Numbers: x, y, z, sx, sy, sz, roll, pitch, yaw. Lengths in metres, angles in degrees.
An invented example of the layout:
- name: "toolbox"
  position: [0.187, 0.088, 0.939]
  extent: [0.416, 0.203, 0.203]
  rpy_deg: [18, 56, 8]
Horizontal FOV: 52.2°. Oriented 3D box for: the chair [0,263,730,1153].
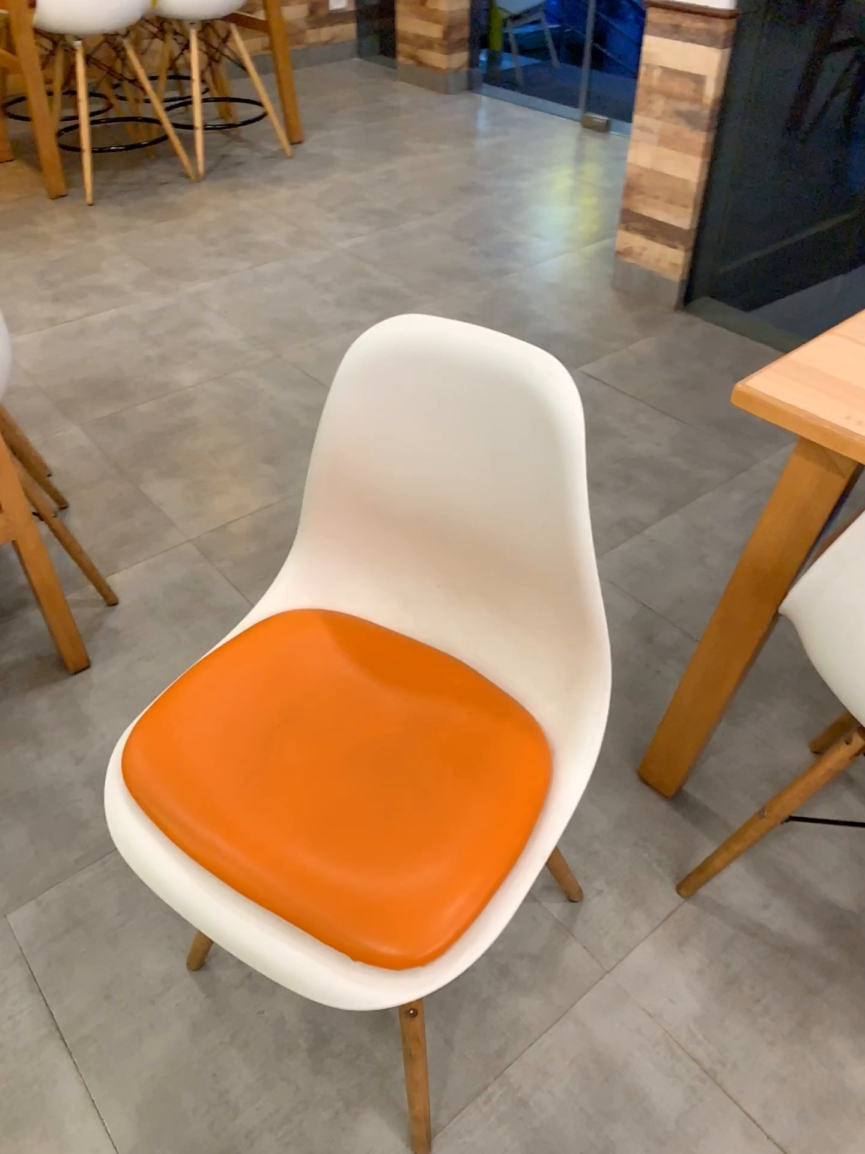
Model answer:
- name: "chair"
  position: [-0.065, 0.154, 0.912]
  extent: [0.442, 0.724, 0.452]
  rpy_deg: [24, 46, 26]
